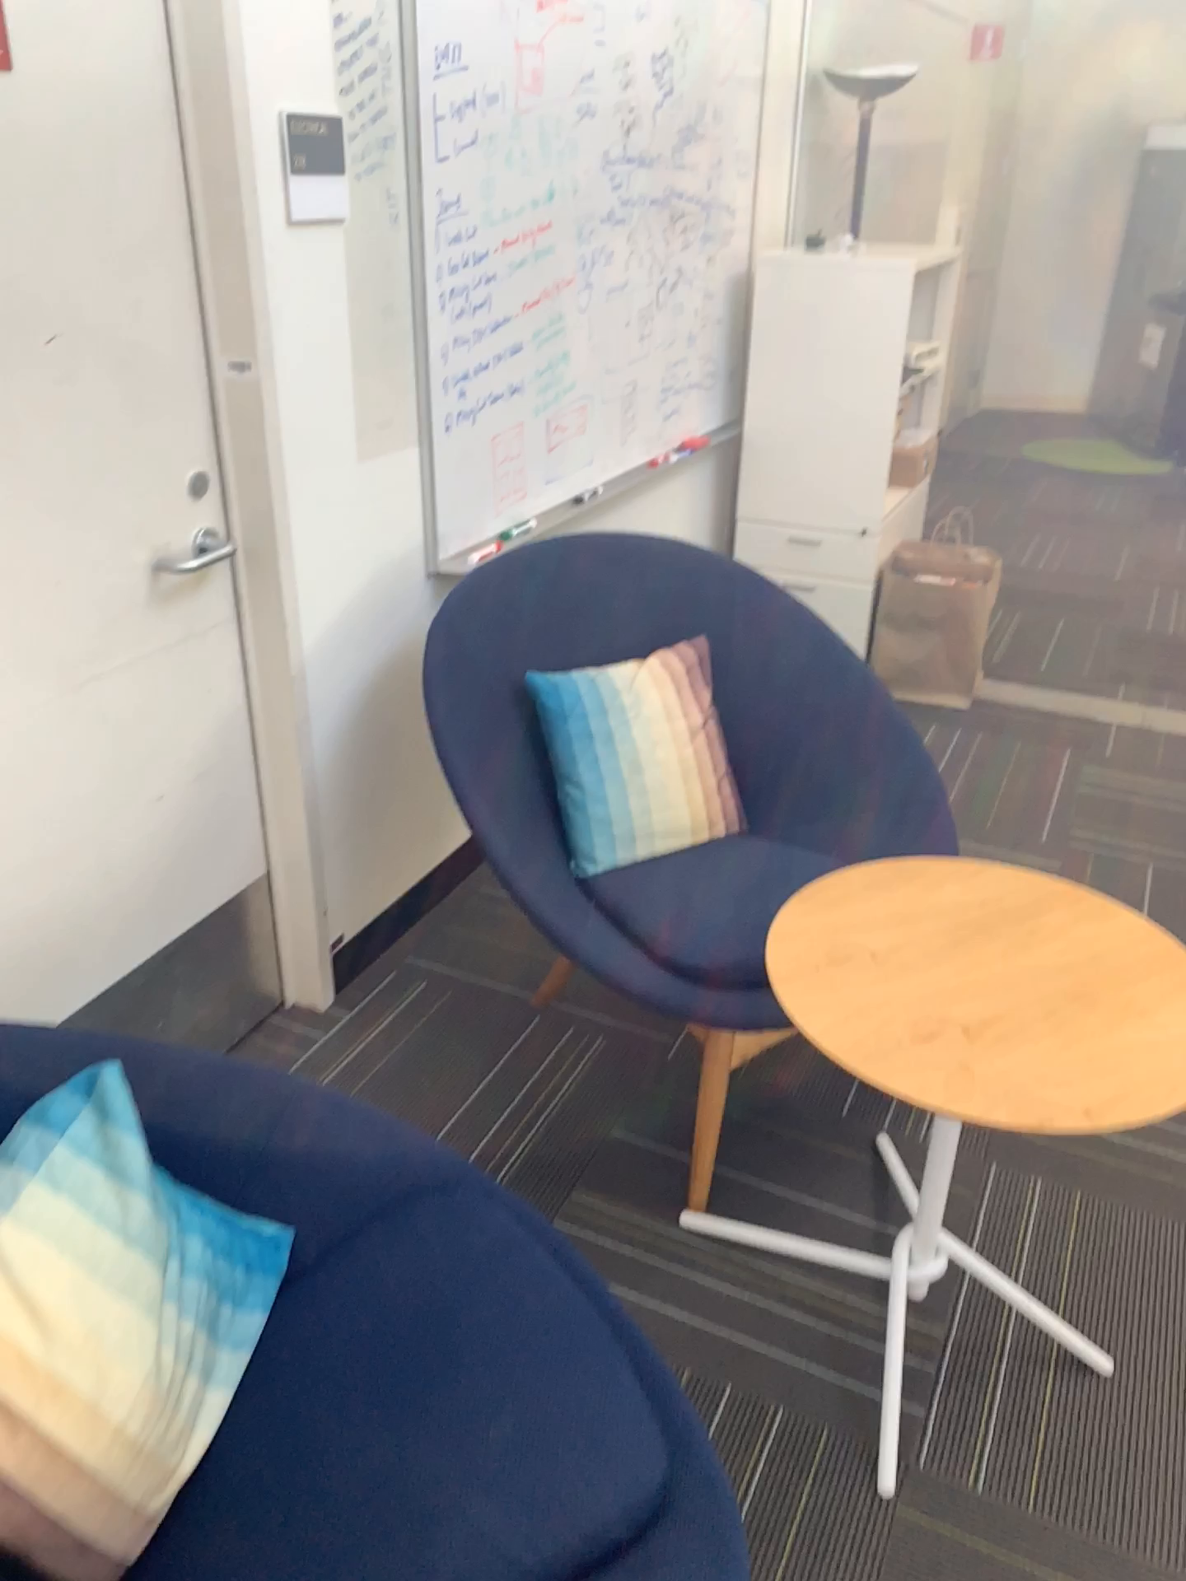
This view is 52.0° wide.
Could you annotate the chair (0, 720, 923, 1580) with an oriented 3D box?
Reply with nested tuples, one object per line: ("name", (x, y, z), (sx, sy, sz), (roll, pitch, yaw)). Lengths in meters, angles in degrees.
("chair", (-0.346, 0.538, 1.120), (0.840, 0.835, 0.794), (-13, 30, -25))

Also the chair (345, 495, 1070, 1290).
("chair", (0.112, 0.077, 2.245), (0.830, 0.945, 0.985), (-11, 29, -22))
